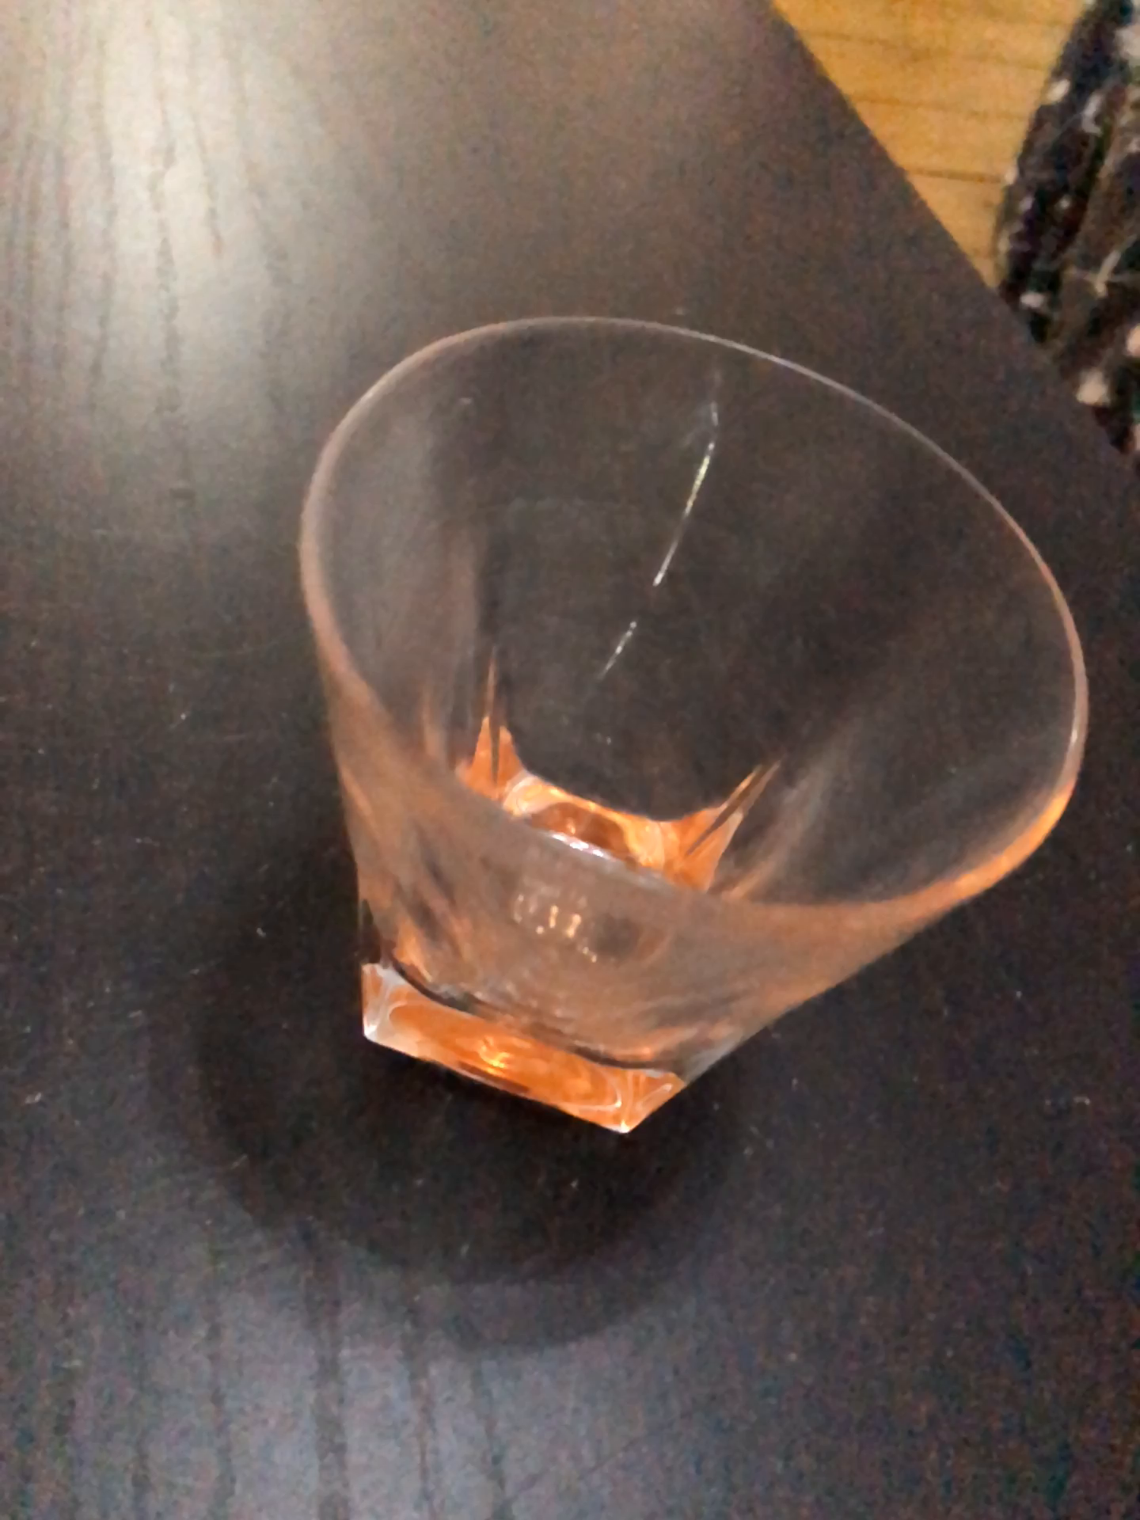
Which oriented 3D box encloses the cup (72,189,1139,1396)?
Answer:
[{"bbox_3d":[0.010,0.004,0.190,0.110,0.099,0.111,9,50,-11],"label":"cup"}]
